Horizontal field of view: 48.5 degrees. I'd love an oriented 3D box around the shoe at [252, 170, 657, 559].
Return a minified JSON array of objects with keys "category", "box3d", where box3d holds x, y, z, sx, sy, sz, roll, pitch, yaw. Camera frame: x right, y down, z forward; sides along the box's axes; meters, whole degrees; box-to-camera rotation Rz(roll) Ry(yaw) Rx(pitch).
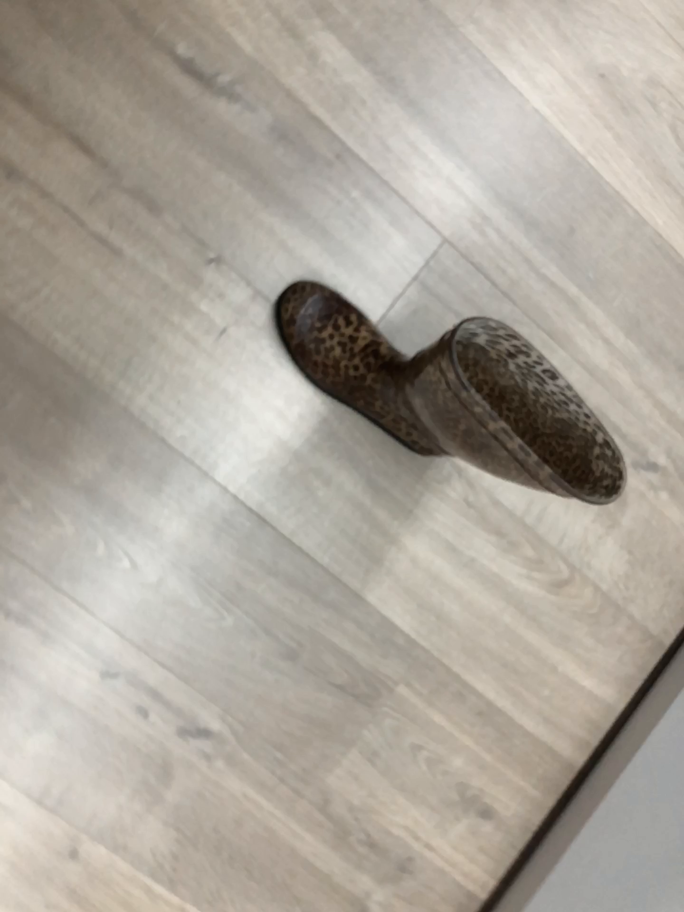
[{"category":"shoe","box3d":[0.065,-0.065,0.684,0.090,0.340,0.280,-46,100,-6]}]
